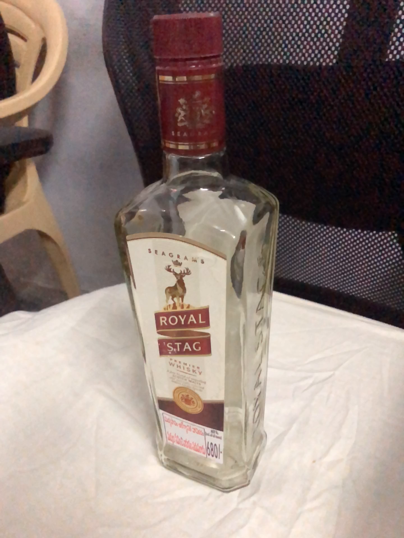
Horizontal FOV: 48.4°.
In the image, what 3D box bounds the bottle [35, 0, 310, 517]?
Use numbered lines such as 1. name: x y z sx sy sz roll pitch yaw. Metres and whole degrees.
1. bottle: -0.006 0.014 0.250 0.090 0.279 0.060 14 36 24
